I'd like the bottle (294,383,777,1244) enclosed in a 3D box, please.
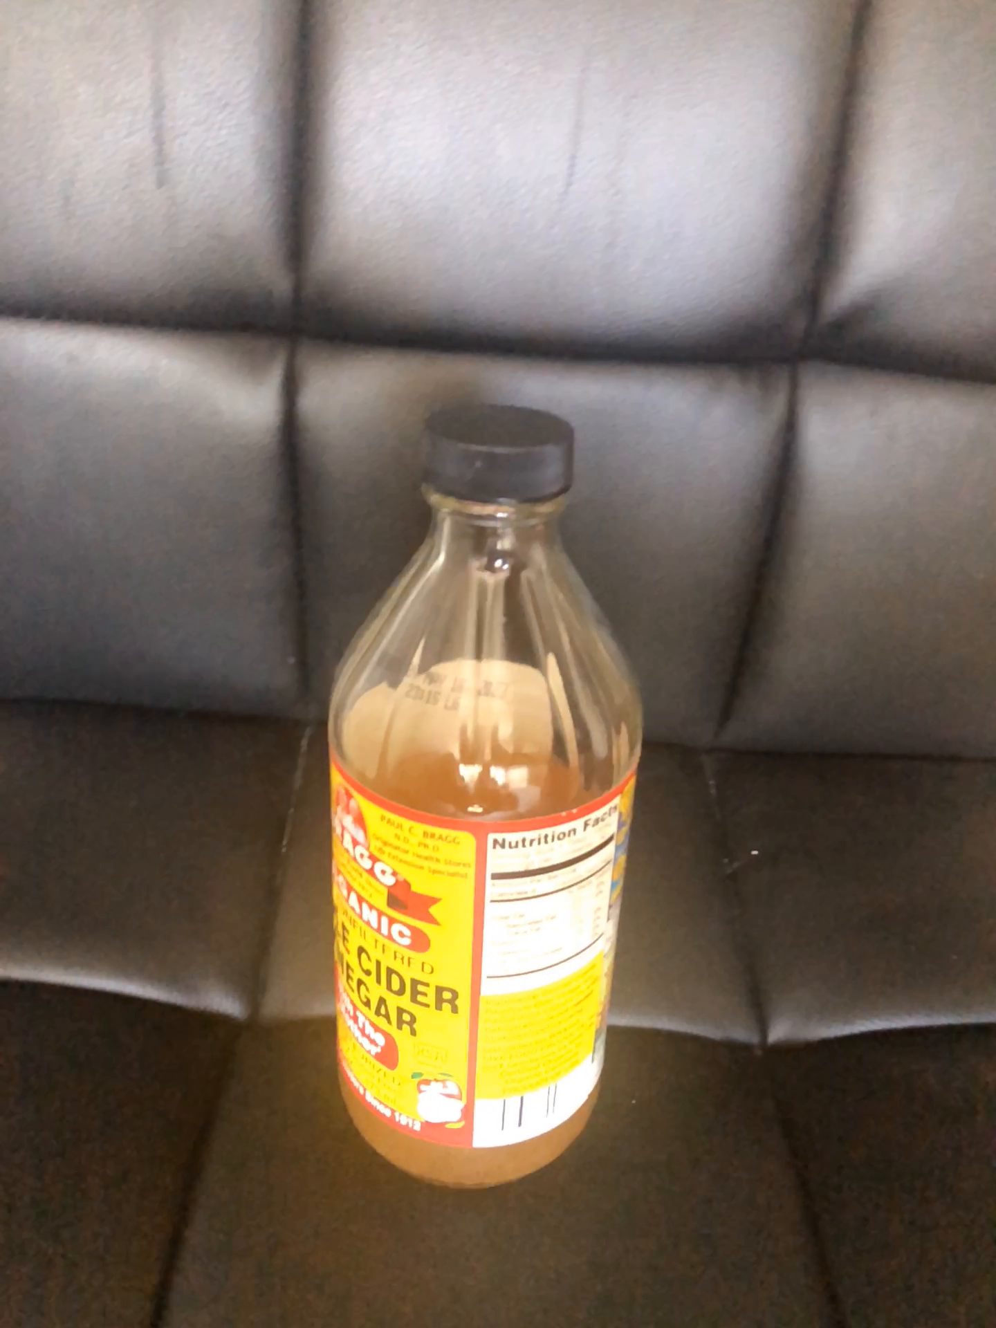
[{"bbox_3d":[-0.002,0.034,0.260,0.070,0.179,0.070,4,26,-2],"label":"bottle"}]

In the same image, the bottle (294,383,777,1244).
[{"bbox_3d":[-0.002,0.034,0.260,0.070,0.179,0.070,4,26,-2],"label":"bottle"}]
